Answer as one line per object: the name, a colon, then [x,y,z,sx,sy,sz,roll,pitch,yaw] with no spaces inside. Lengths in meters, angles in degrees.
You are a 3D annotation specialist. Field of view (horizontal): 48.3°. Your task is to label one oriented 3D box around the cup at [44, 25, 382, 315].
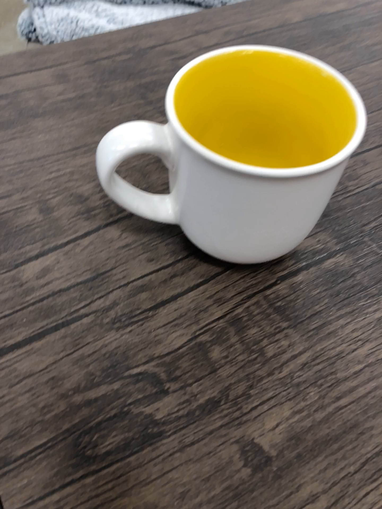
cup: [0.007,-0.048,0.233,0.140,0.090,0.100,-12,57,-12]
